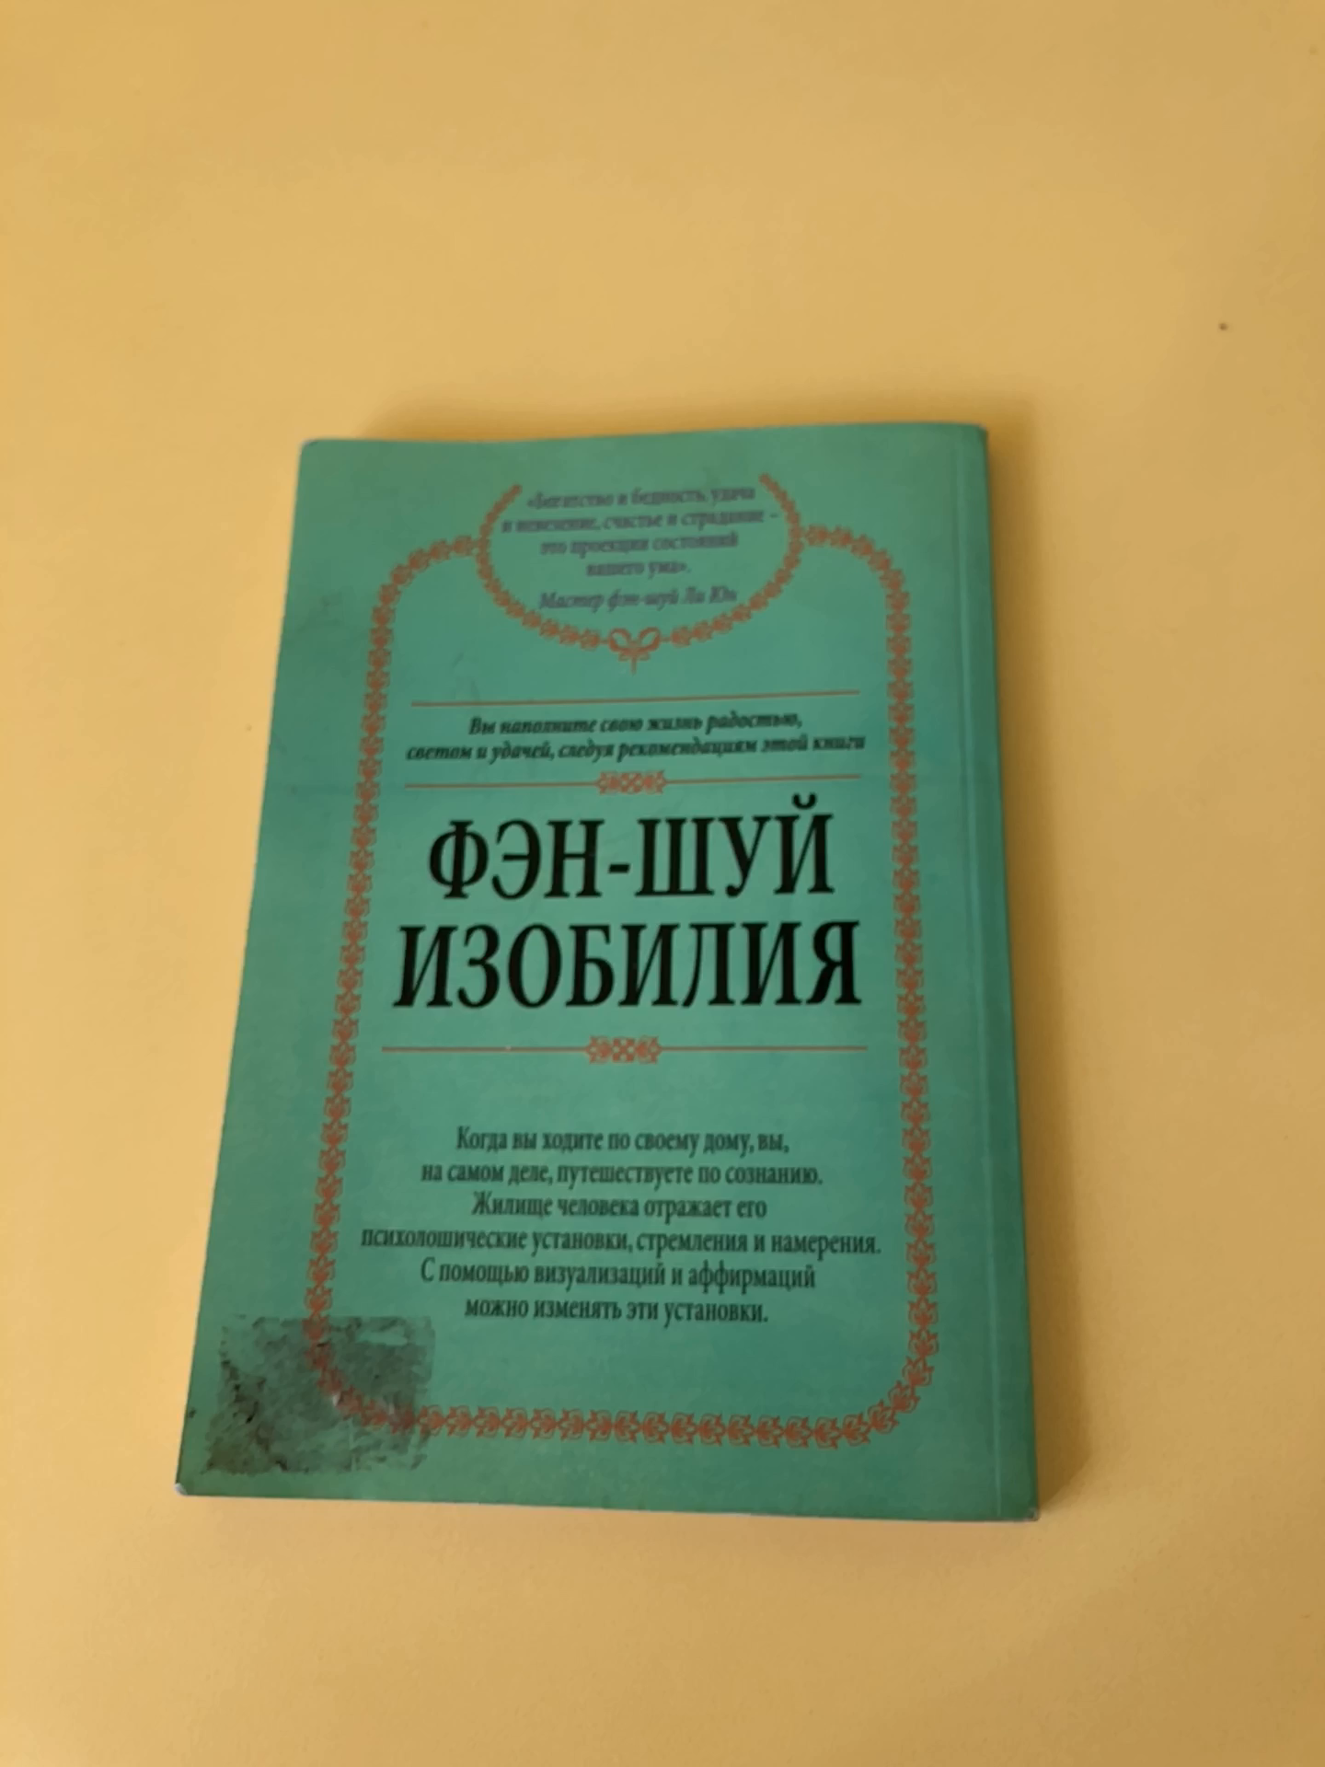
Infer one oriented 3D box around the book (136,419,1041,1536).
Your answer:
[{"bbox_3d":[-0.008,0.007,0.228,0.118,0.020,0.166,0,71,5],"label":"book"}]
